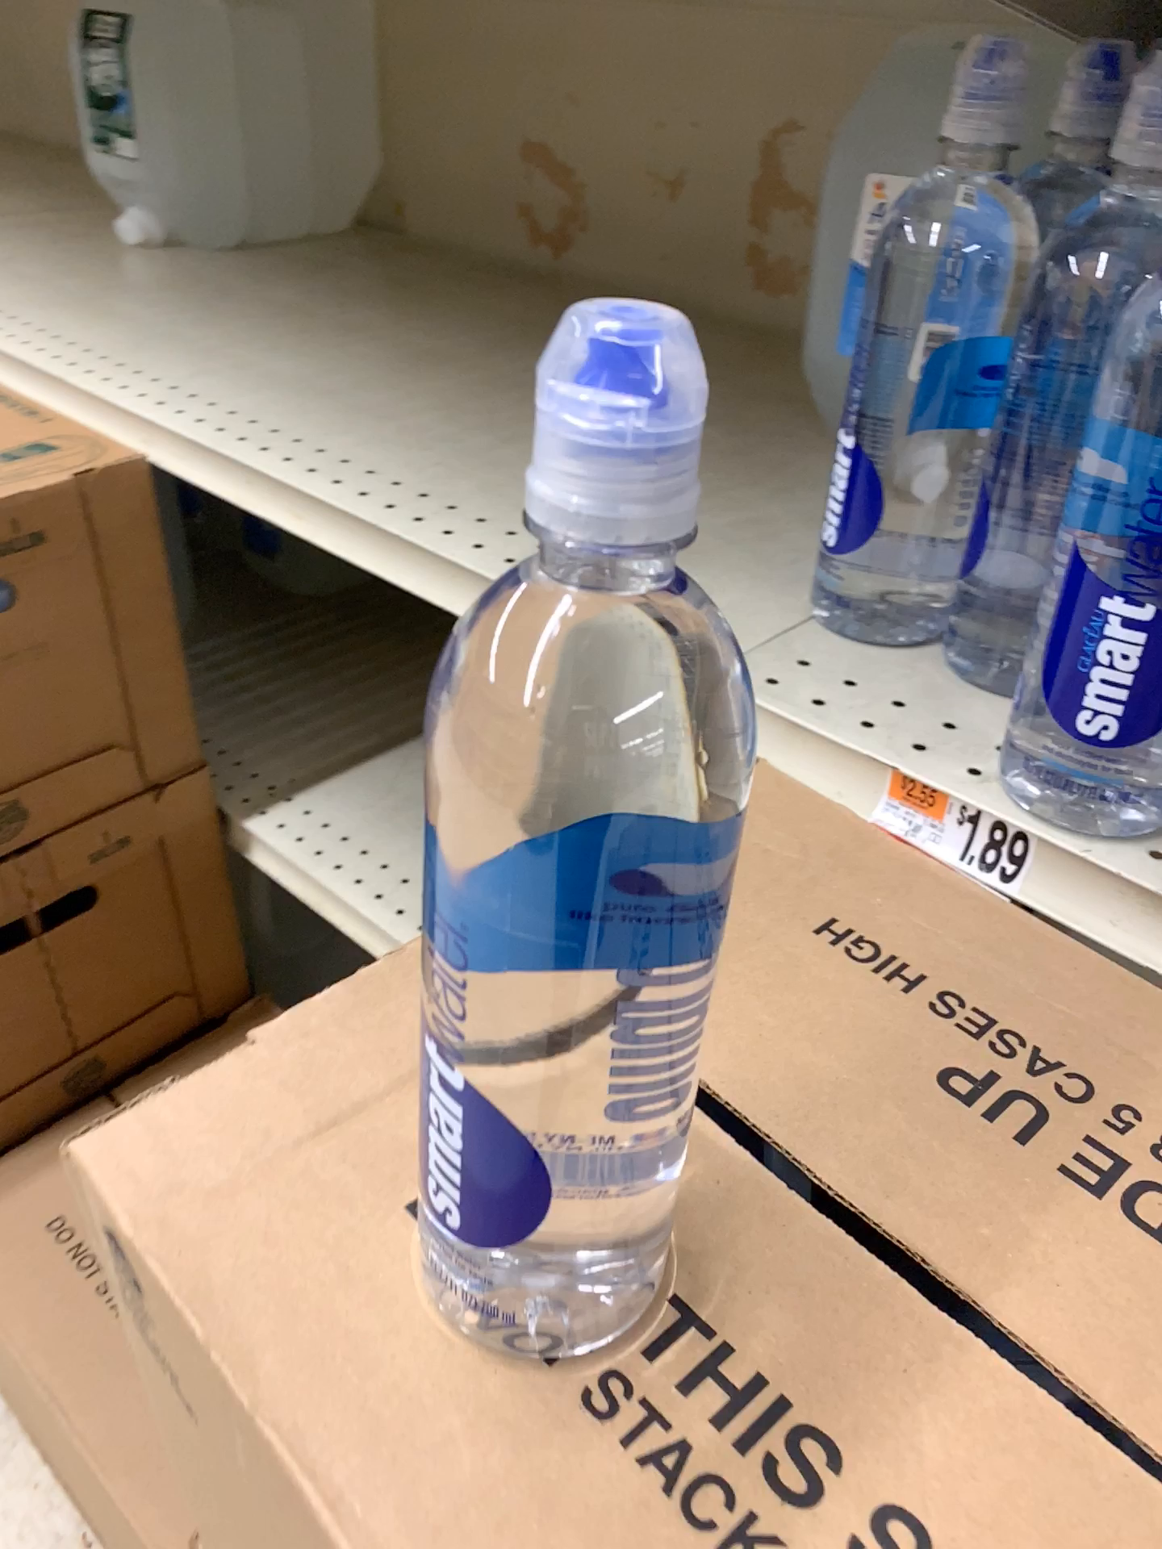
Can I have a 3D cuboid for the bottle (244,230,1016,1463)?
[{"bbox_3d":[0.003,0.025,0.266,0.090,0.249,0.090,1,34,-1],"label":"bottle"}]
